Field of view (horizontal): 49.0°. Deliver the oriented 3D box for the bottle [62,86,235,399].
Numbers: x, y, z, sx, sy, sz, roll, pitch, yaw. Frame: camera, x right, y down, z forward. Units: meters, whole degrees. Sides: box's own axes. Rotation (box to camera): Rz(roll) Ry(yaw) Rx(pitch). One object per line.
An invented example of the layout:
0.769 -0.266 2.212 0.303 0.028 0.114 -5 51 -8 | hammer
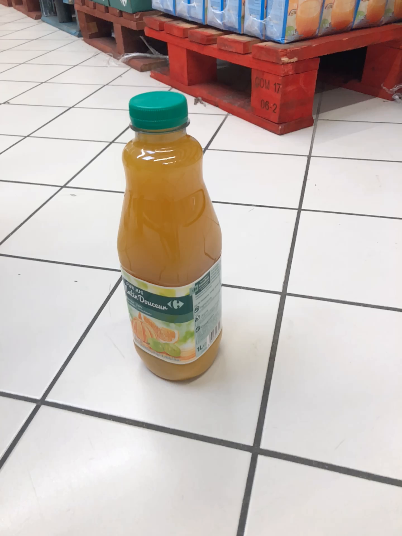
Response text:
-0.029 -0.014 0.375 0.080 0.239 0.091 21 43 29 | bottle
